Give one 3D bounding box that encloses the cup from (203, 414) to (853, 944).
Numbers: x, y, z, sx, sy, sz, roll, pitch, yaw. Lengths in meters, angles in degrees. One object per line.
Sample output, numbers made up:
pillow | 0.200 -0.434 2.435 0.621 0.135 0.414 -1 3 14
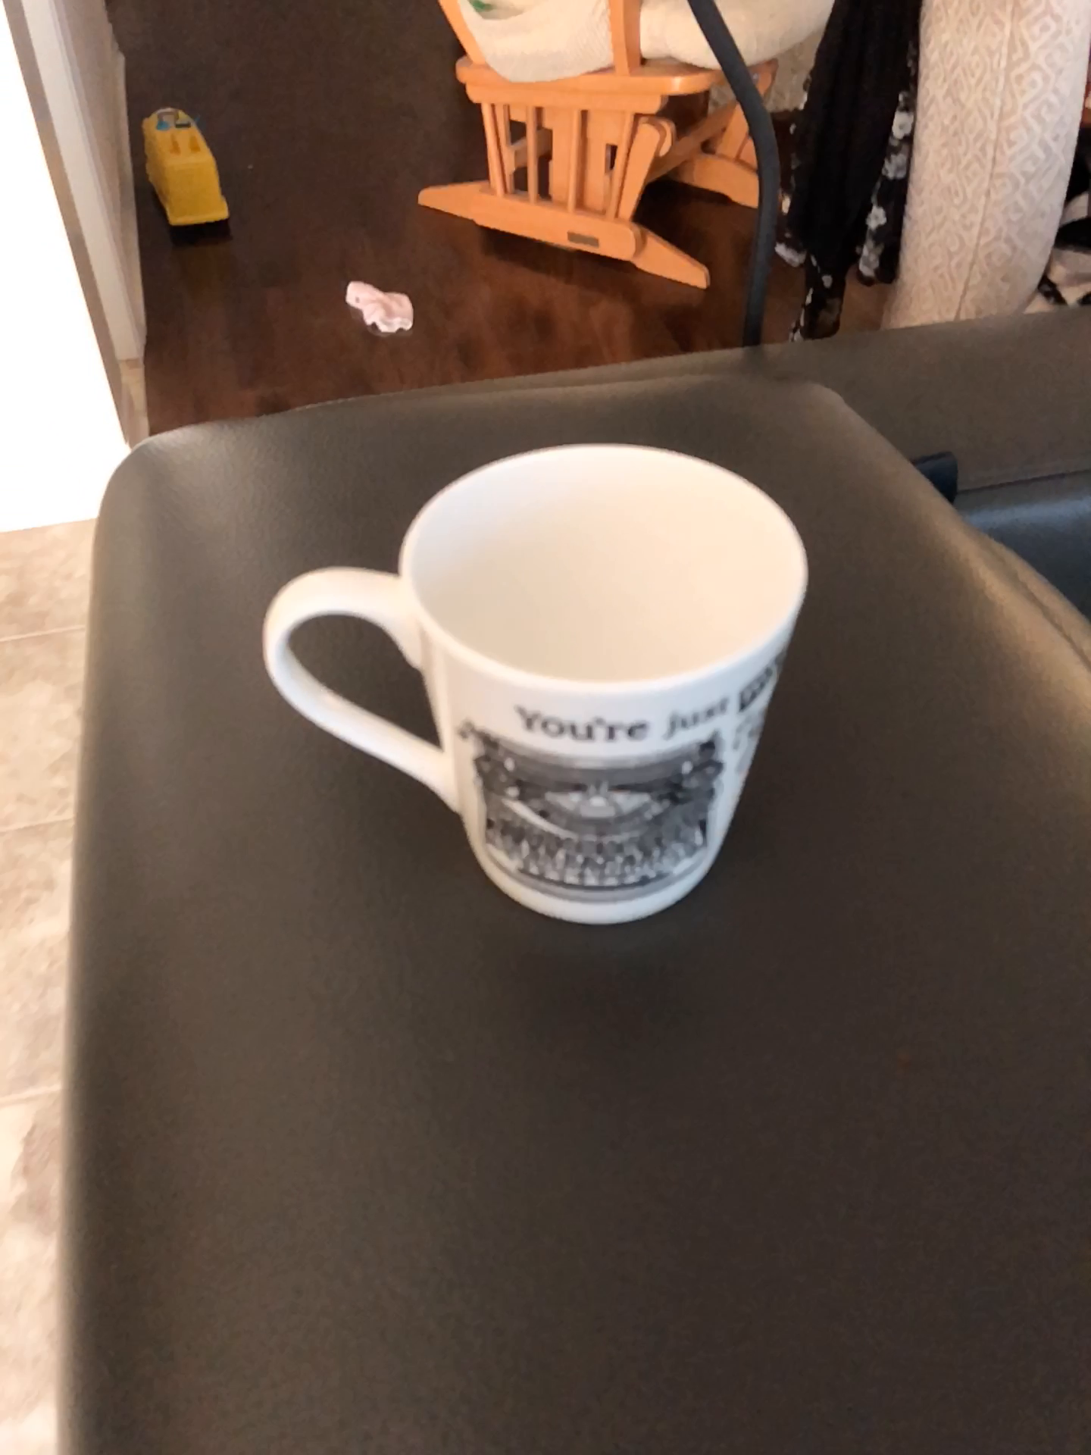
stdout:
cup | -0.003 -0.011 0.278 0.117 0.089 0.081 1 45 0
